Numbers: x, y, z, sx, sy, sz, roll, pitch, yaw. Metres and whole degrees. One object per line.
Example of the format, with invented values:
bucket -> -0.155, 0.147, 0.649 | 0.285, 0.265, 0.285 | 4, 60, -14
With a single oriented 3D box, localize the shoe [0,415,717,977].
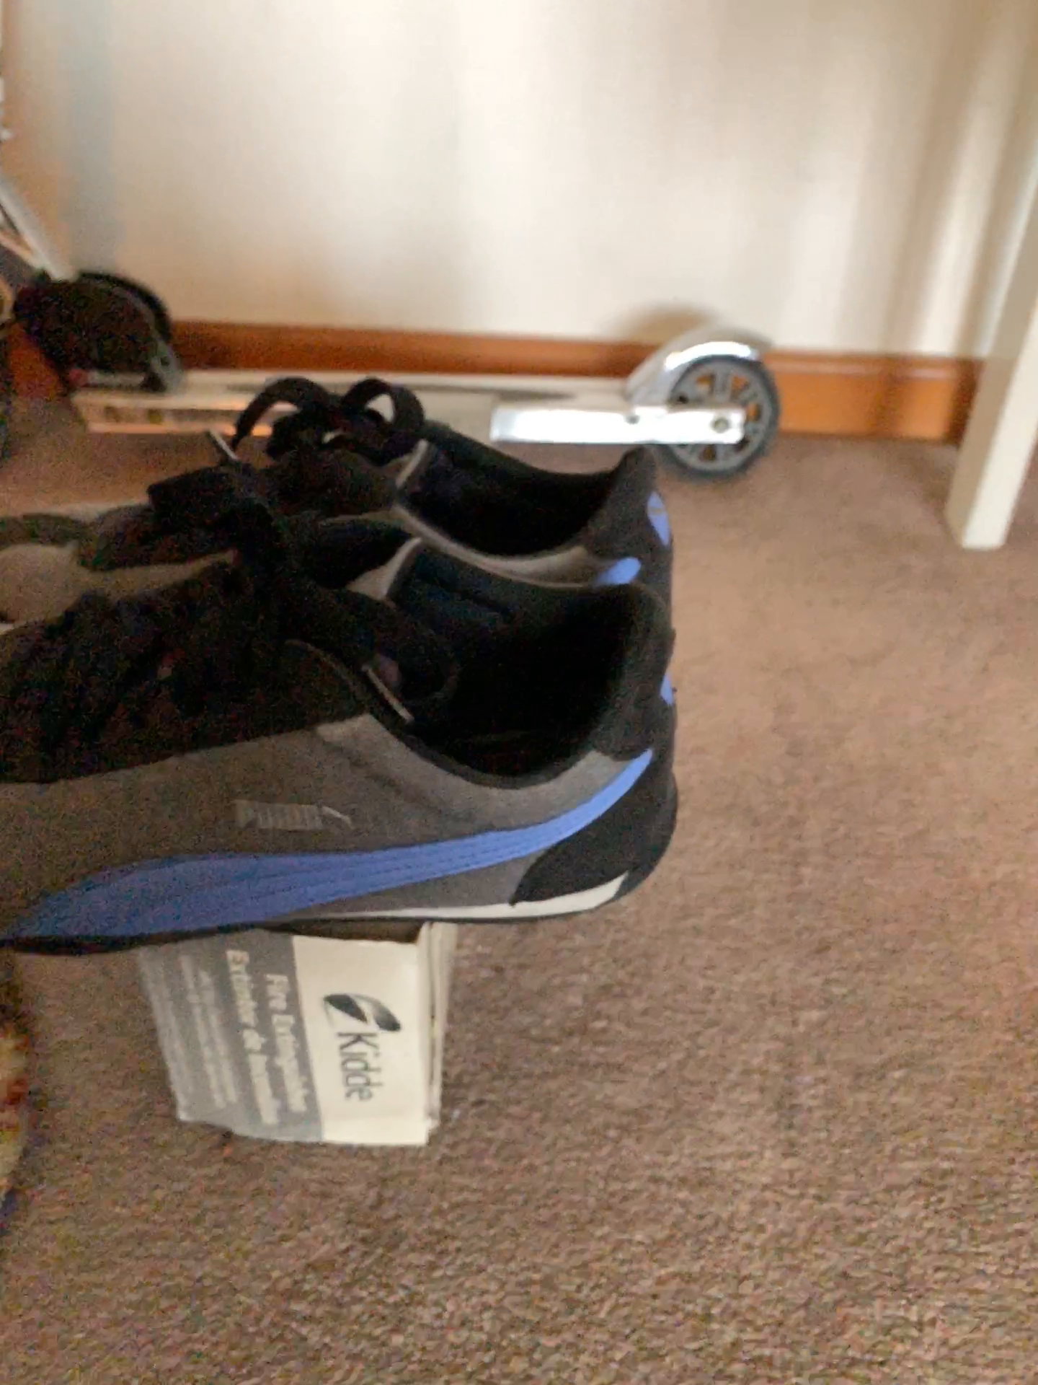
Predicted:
shoe -> -0.079, -0.002, 0.289 | 0.240, 0.099, 0.101 | 2, 37, 1

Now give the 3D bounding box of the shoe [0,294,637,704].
shoe -> -0.082, -0.067, 0.359 | 0.230, 0.089, 0.101 | 2, 37, 1
